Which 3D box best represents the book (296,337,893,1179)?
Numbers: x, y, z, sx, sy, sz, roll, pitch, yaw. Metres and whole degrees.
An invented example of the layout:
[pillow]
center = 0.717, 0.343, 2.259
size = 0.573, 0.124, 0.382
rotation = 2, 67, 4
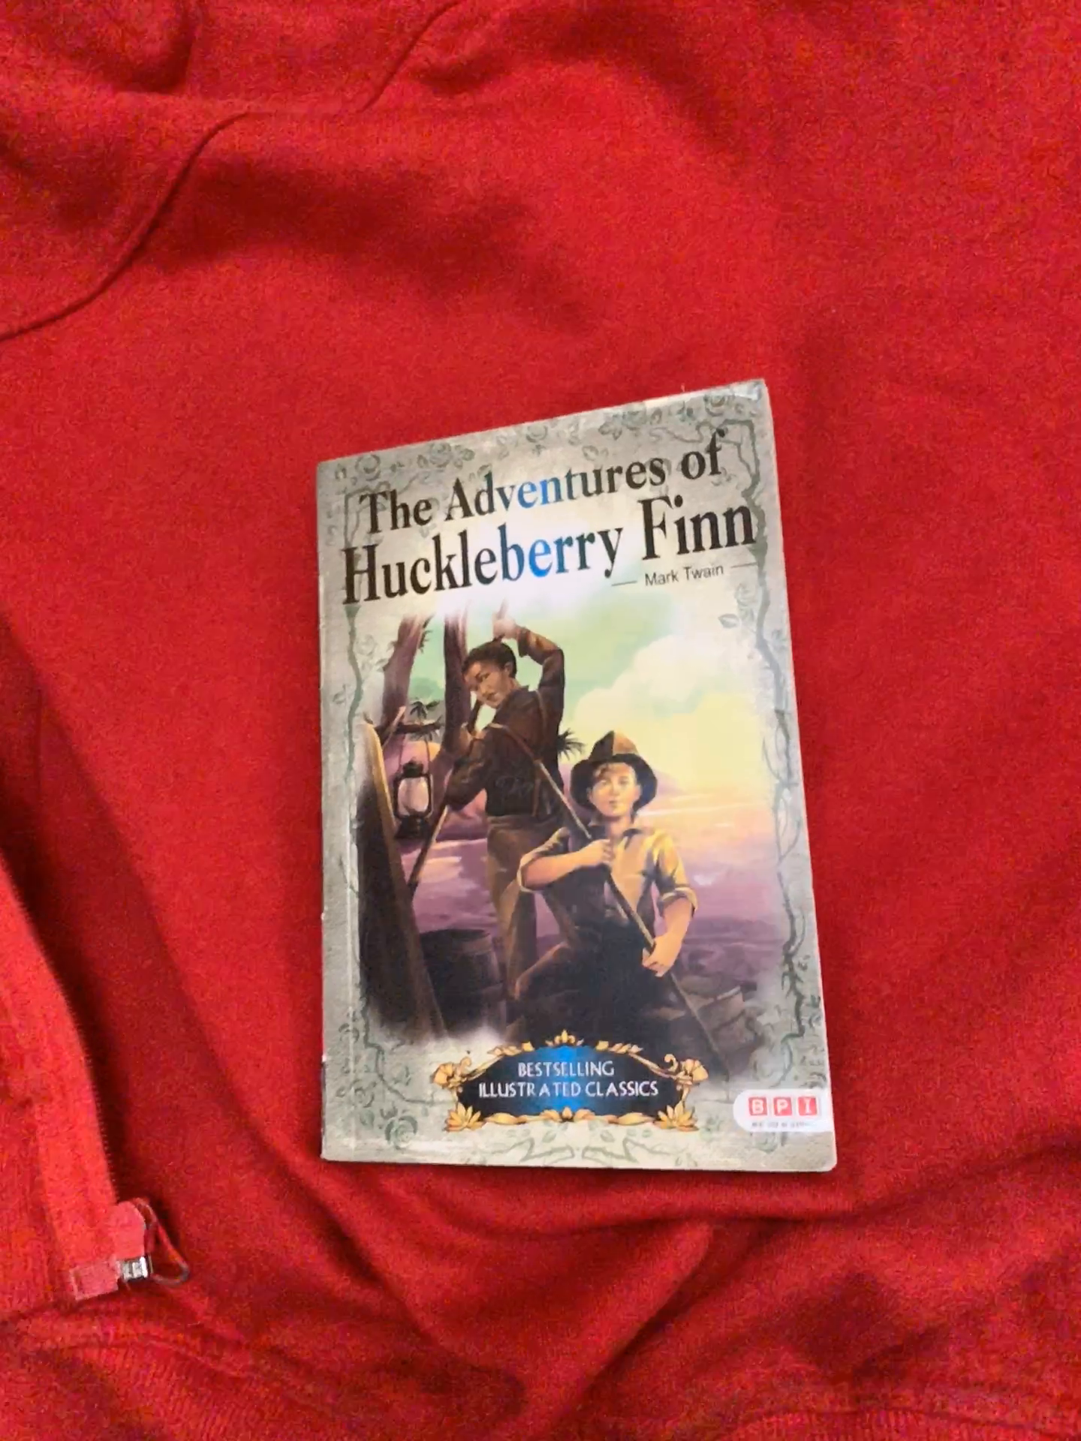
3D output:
[book]
center = 0.005, 0.009, 0.265
size = 0.130, 0.020, 0.180
rotation = -6, 78, 16
